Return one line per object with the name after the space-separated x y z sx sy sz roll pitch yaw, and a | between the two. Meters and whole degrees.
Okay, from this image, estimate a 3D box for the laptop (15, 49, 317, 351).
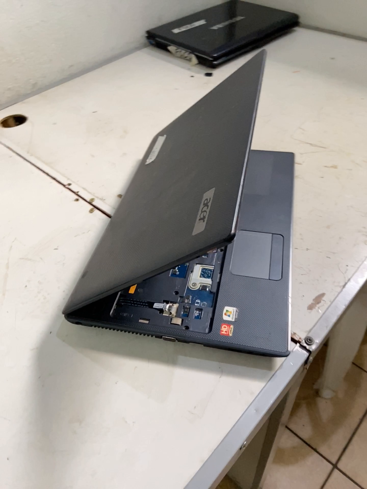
0.024 -0.093 0.469 0.239 0.156 0.372 7 47 11 | laptop
